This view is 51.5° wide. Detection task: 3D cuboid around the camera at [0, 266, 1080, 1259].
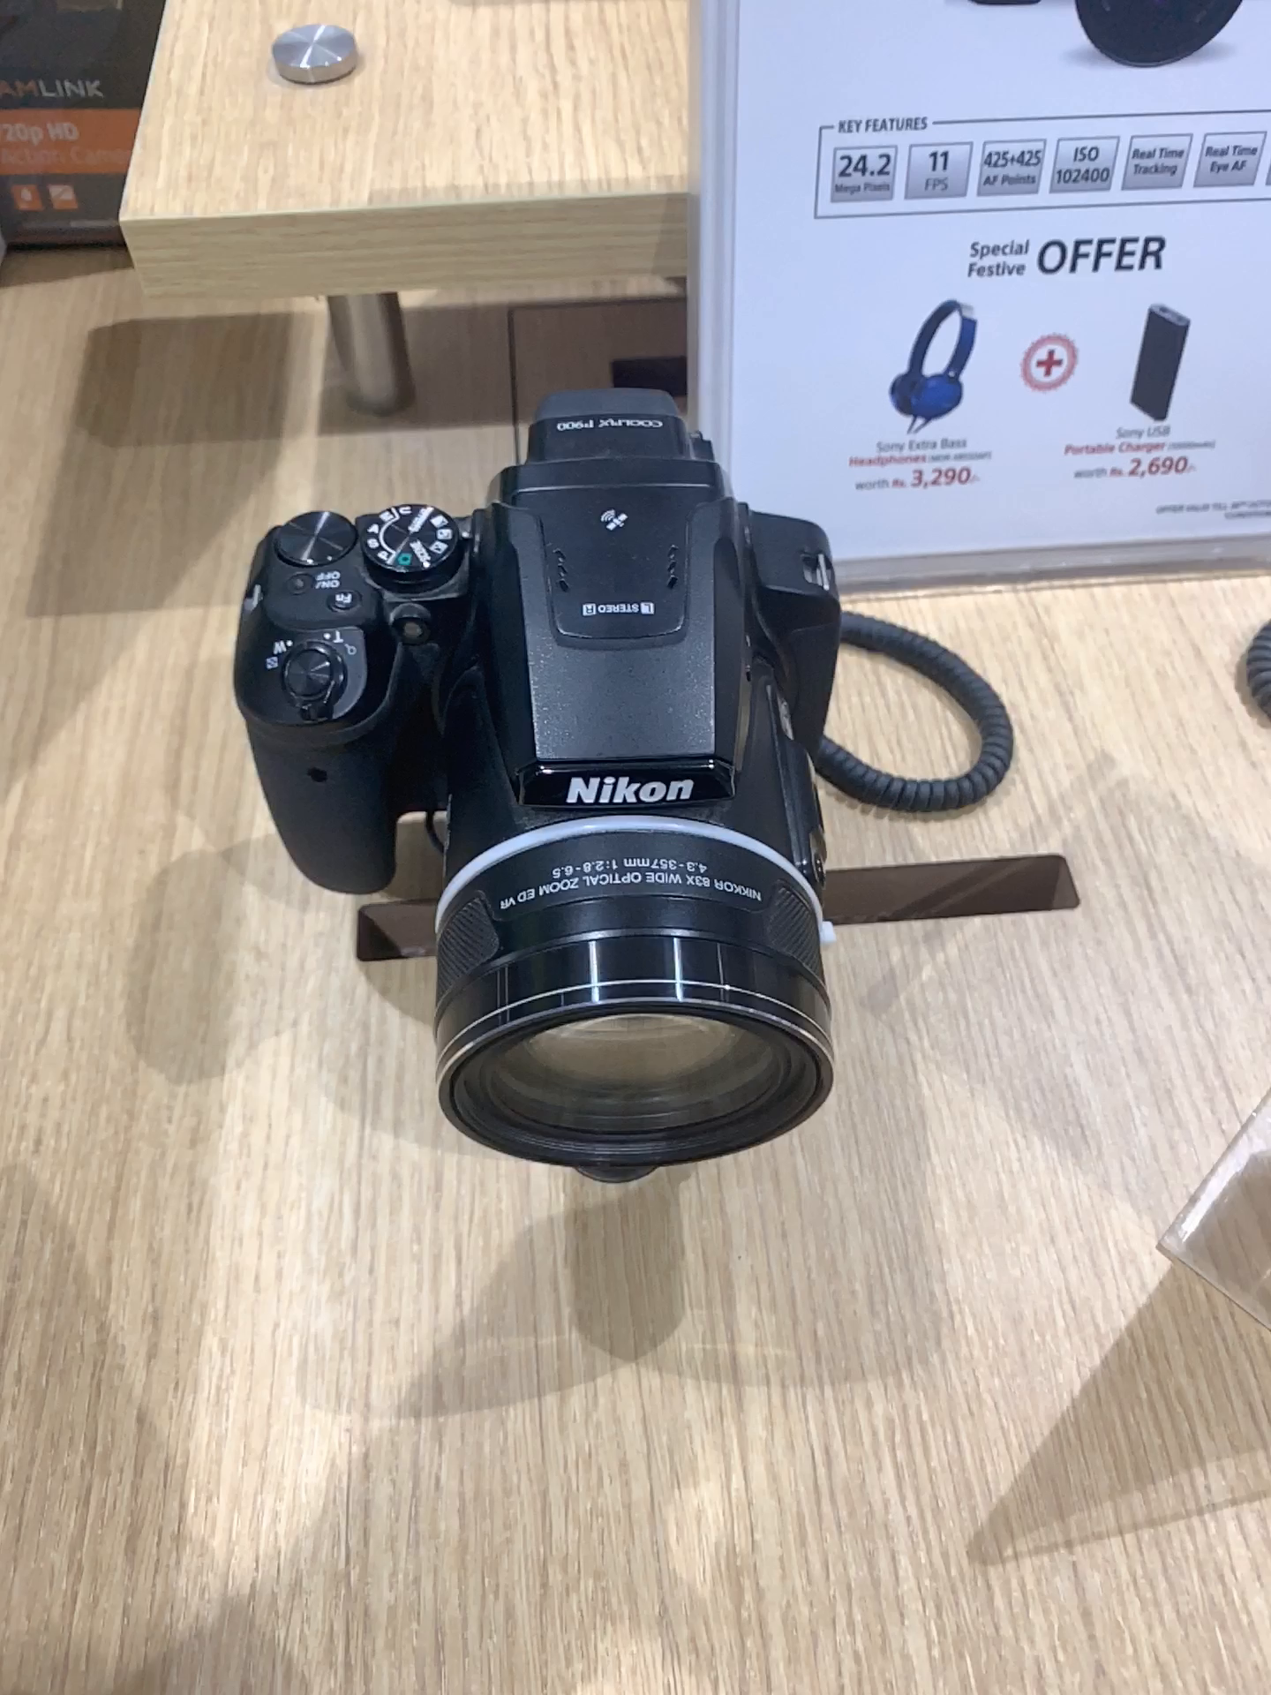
[{"bbox_3d":[-0.020,-0.019,0.242,0.140,0.090,0.150,-4,55,-3],"label":"camera"}]
